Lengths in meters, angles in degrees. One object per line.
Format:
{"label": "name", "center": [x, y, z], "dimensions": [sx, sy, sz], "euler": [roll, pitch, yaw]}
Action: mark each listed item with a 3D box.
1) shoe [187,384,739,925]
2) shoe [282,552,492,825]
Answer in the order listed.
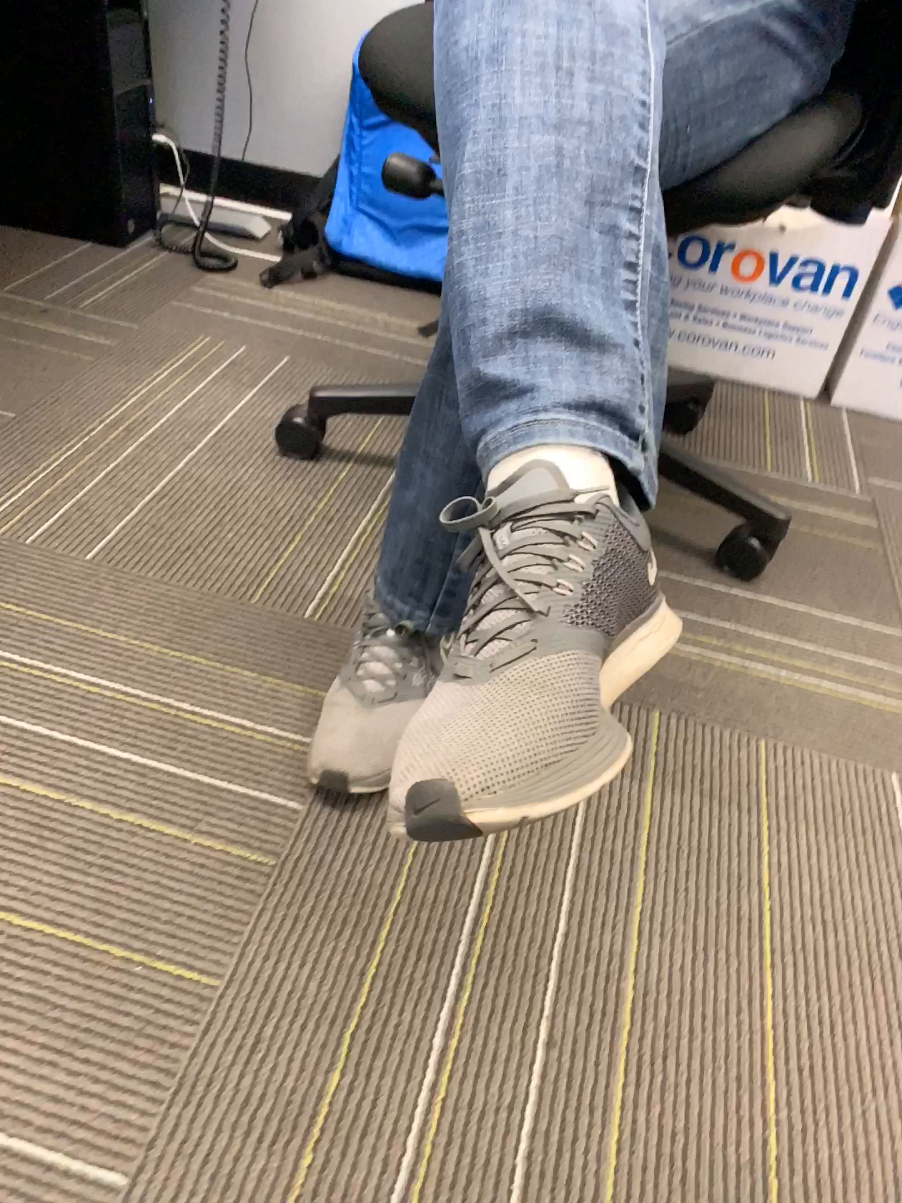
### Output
{"label": "shoe", "center": [0.035, 0.007, 0.482], "dimensions": [0.122, 0.142, 0.296], "euler": [-18, 13, 35]}
{"label": "shoe", "center": [-0.055, 0.073, 0.915], "dimensions": [0.120, 0.085, 0.270], "euler": [16, 39, 7]}
